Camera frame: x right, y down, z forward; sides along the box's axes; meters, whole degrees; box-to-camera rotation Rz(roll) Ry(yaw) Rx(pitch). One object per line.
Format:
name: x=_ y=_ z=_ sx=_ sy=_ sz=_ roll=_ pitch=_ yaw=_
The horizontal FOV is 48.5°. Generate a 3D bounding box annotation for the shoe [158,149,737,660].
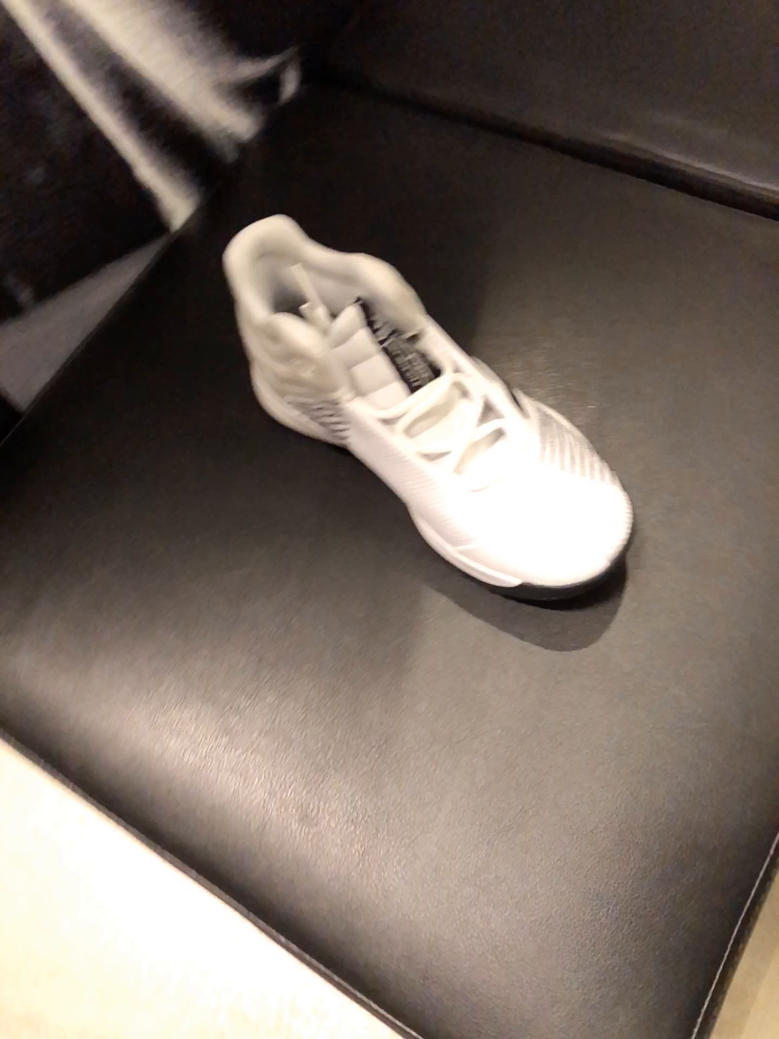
shoe: x=0.022 y=-0.054 z=0.400 sx=0.220 sy=0.110 sz=0.100 roll=35 pitch=75 yaw=21
